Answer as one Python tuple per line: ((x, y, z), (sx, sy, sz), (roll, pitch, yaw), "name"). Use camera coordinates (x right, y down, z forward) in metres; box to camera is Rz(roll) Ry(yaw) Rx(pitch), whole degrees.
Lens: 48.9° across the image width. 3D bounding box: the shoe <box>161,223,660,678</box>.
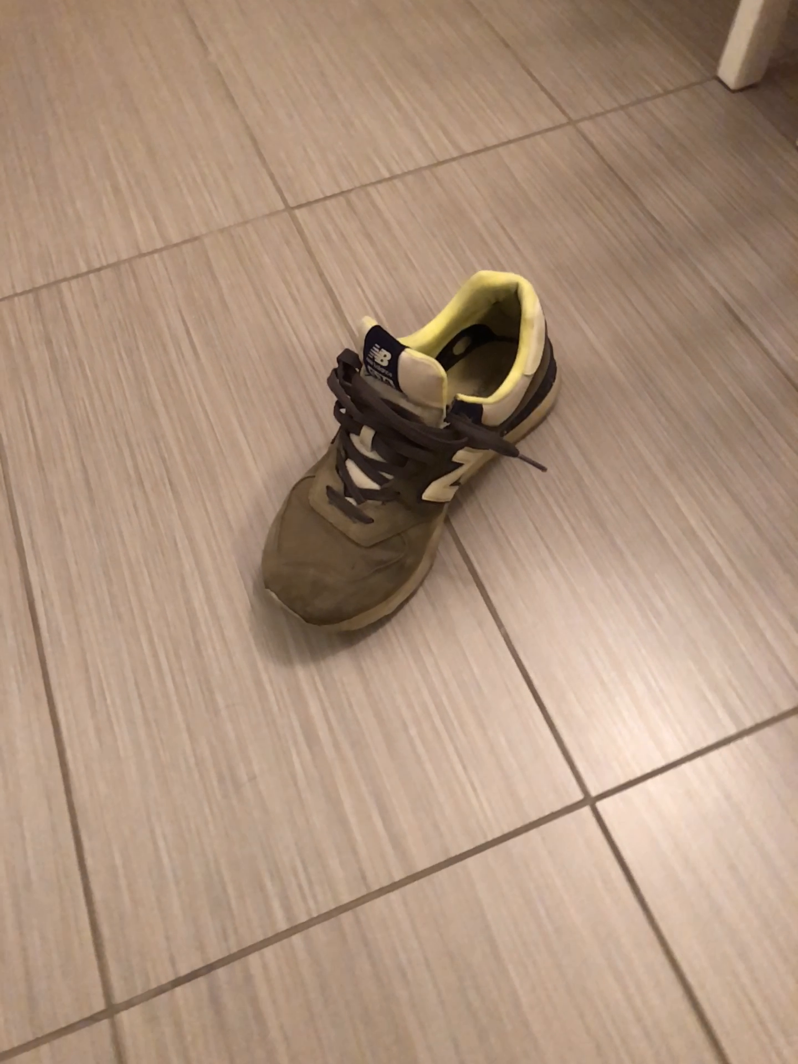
((0.017, -0.064, 0.605), (0.311, 0.110, 0.130), (-38, 63, -18), "shoe")
